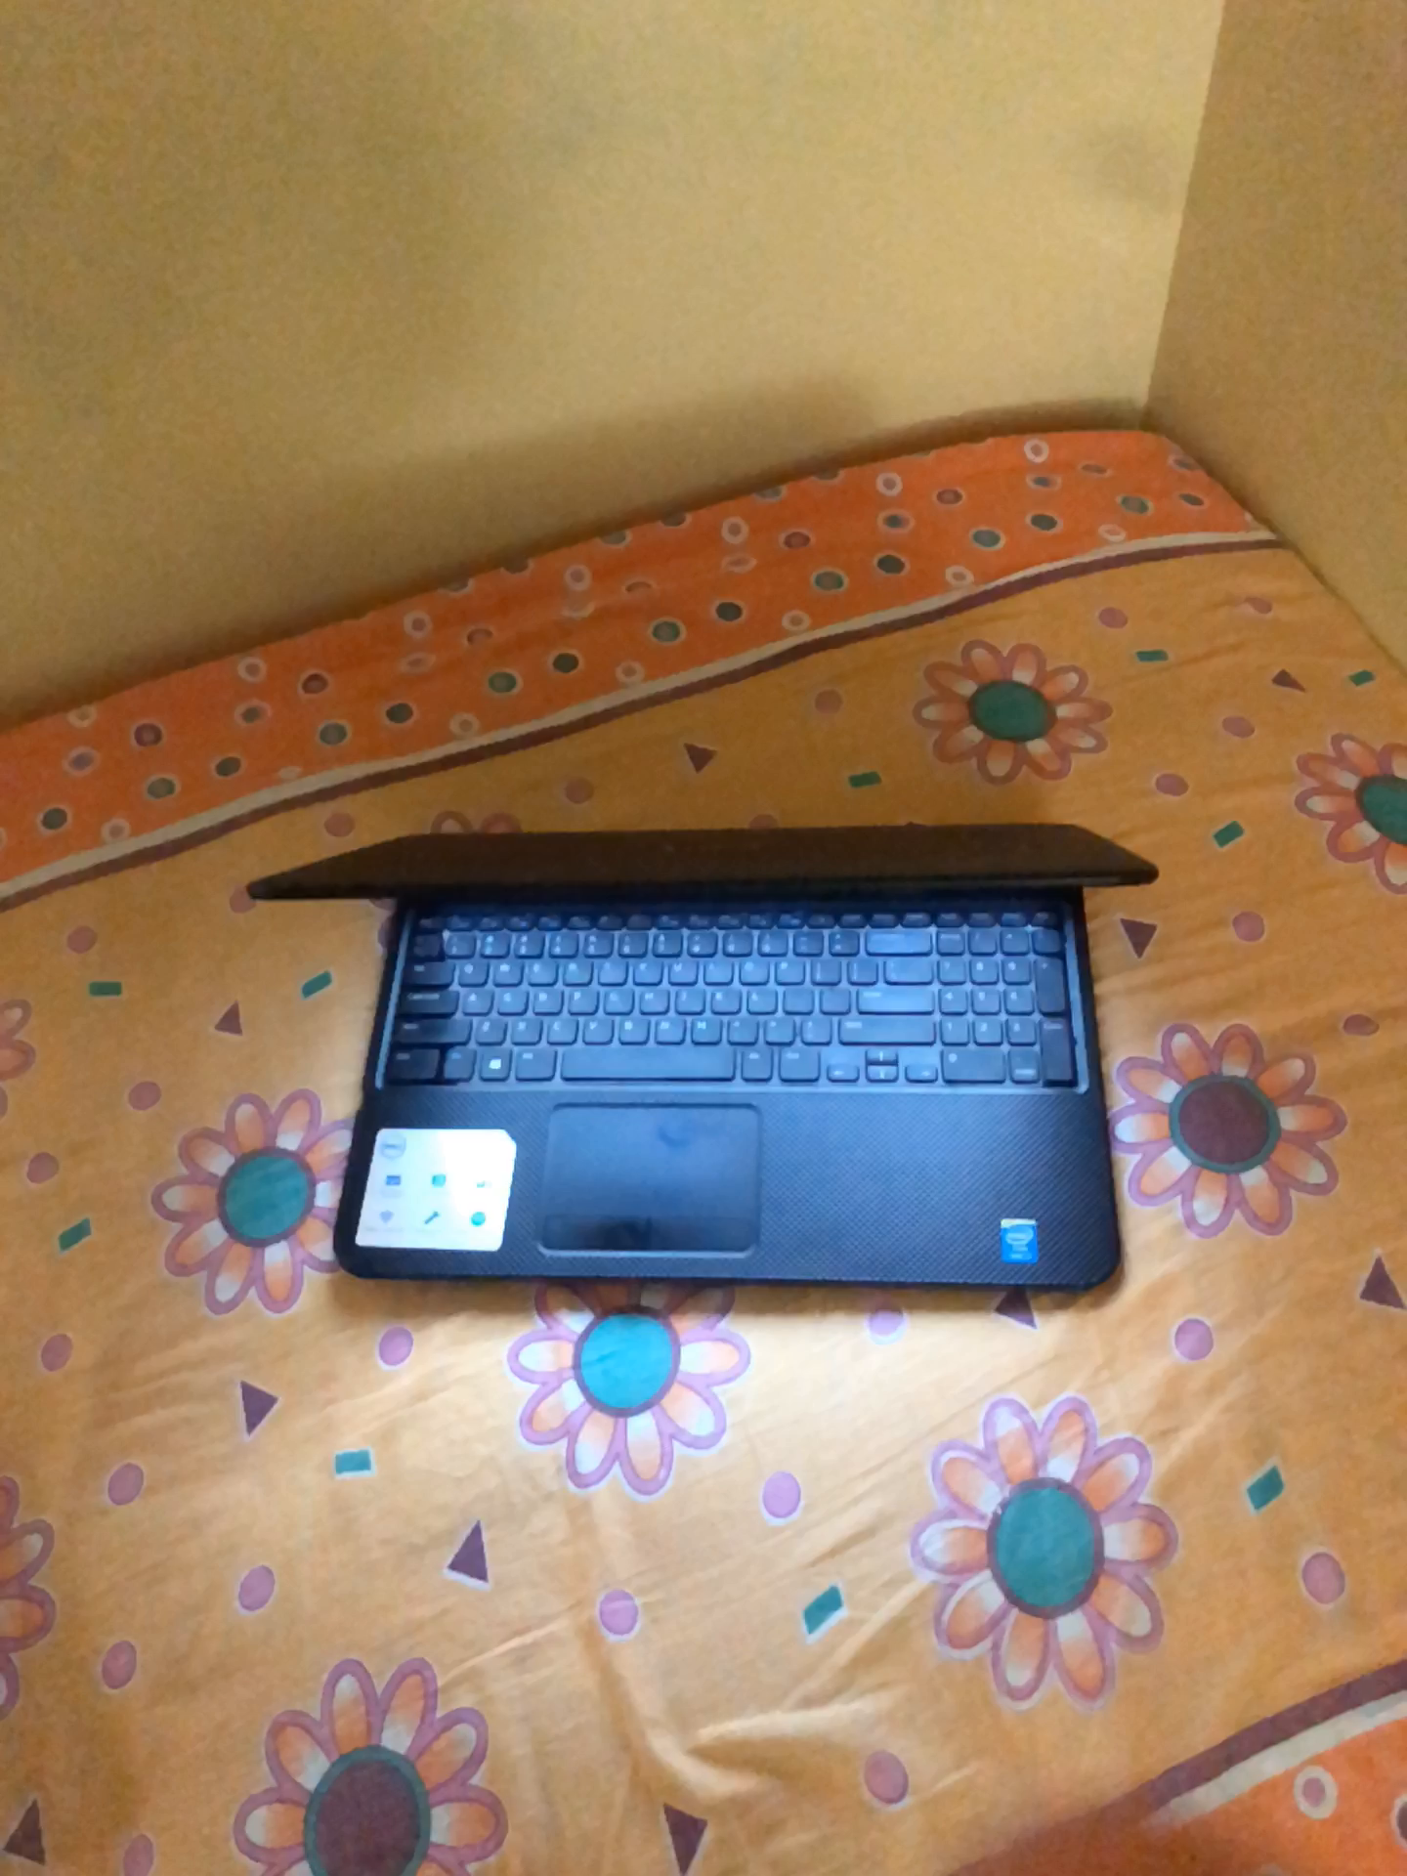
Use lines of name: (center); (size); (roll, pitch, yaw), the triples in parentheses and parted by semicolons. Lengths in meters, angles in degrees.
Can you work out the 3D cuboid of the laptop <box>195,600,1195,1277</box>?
laptop: (0.003, 0.007, 0.708); (0.366, 0.190, 0.238); (-1, 58, 6)
